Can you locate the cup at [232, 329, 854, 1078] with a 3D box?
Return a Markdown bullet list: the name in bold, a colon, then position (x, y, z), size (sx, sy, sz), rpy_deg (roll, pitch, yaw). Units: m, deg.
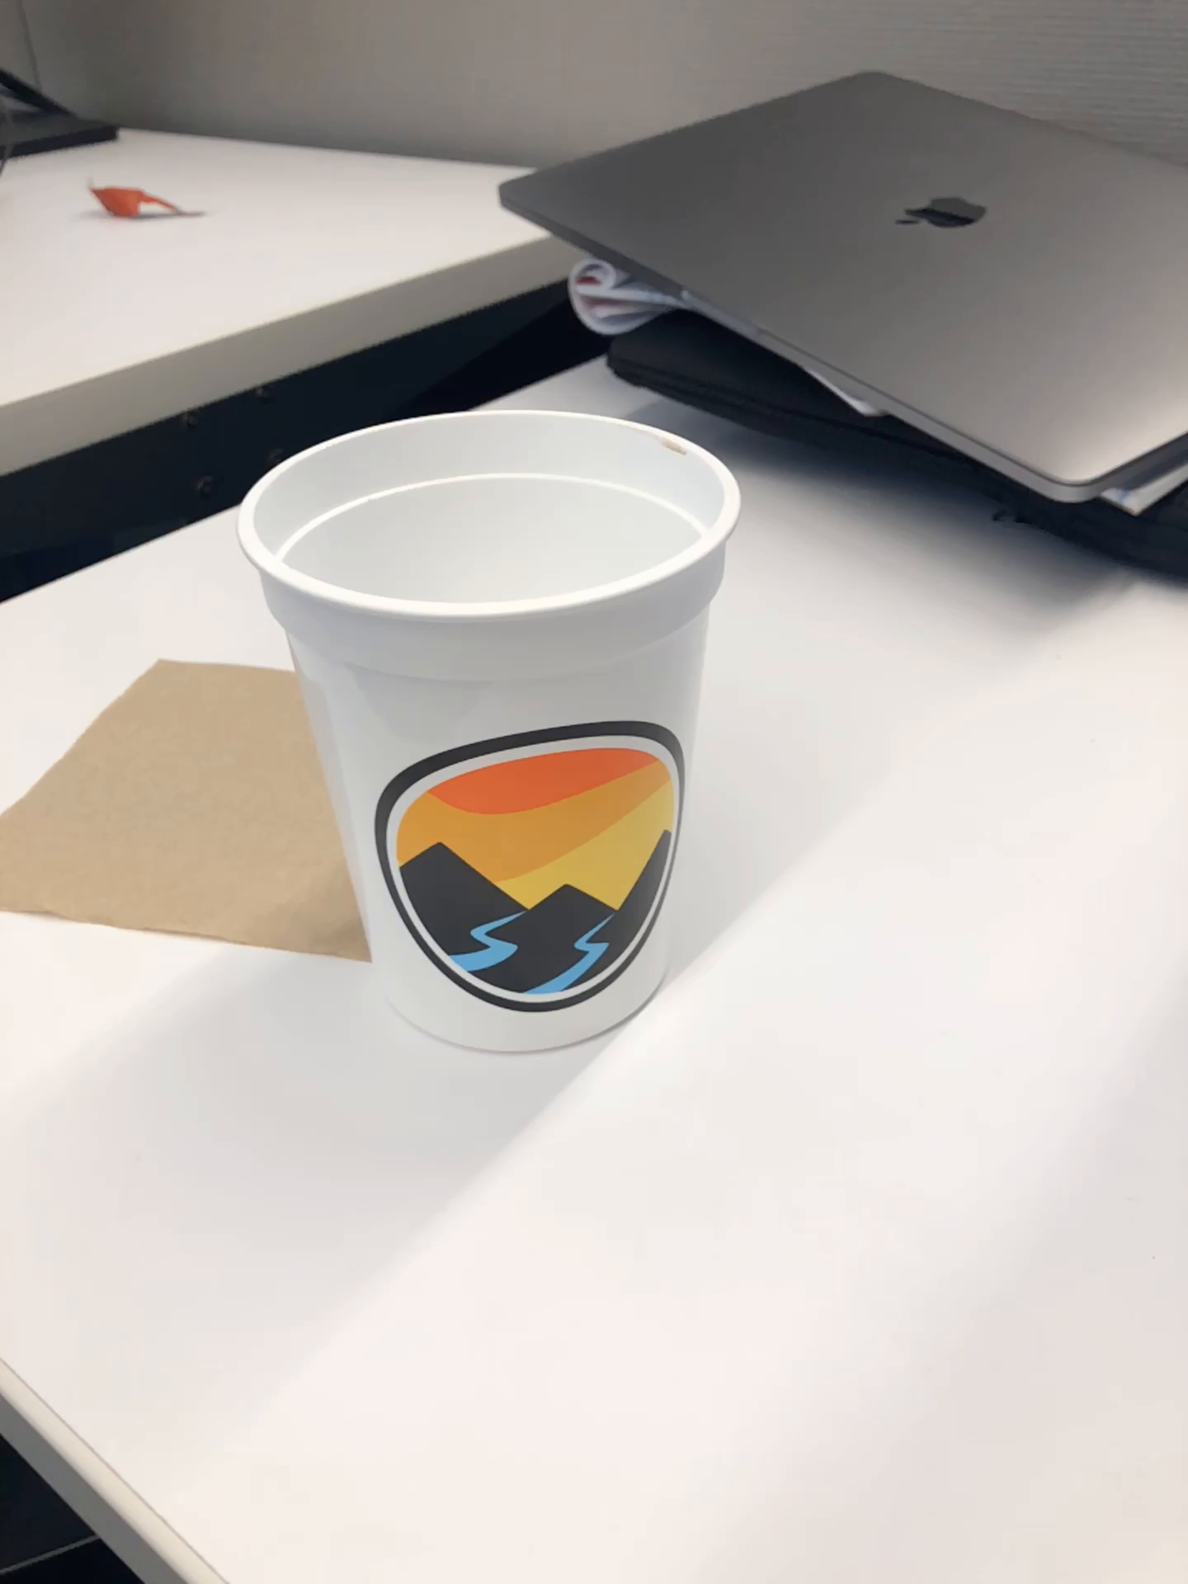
- **cup**: position (-0.014, -0.022, 0.254), size (0.090, 0.099, 0.090), rpy_deg (-2, 33, 1)
